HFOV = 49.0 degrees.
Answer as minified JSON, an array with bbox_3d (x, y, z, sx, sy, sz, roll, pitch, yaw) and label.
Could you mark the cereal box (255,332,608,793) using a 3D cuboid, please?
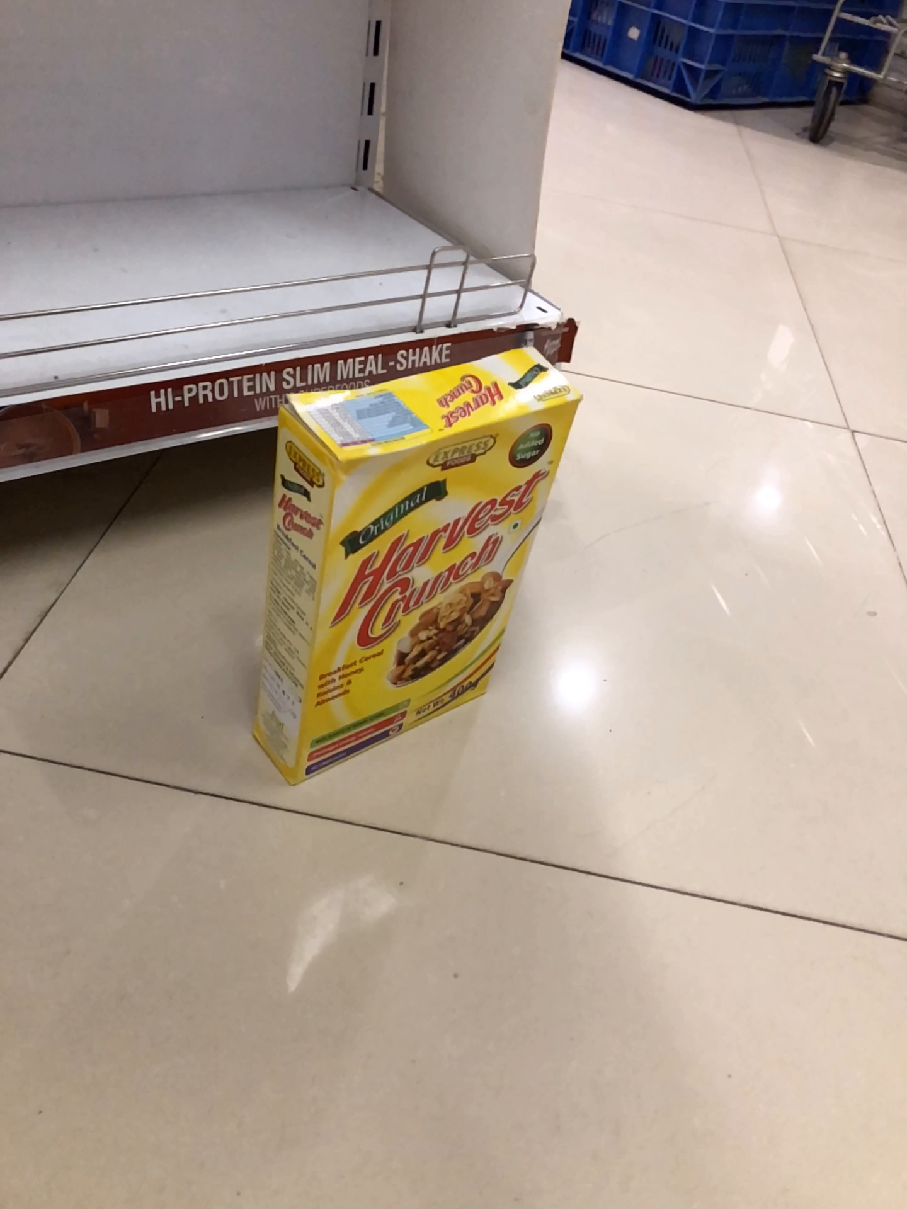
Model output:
[{"bbox_3d":[-0.017,-0.021,0.518,0.161,0.209,0.050,-23,50,-35],"label":"cereal box"}]
